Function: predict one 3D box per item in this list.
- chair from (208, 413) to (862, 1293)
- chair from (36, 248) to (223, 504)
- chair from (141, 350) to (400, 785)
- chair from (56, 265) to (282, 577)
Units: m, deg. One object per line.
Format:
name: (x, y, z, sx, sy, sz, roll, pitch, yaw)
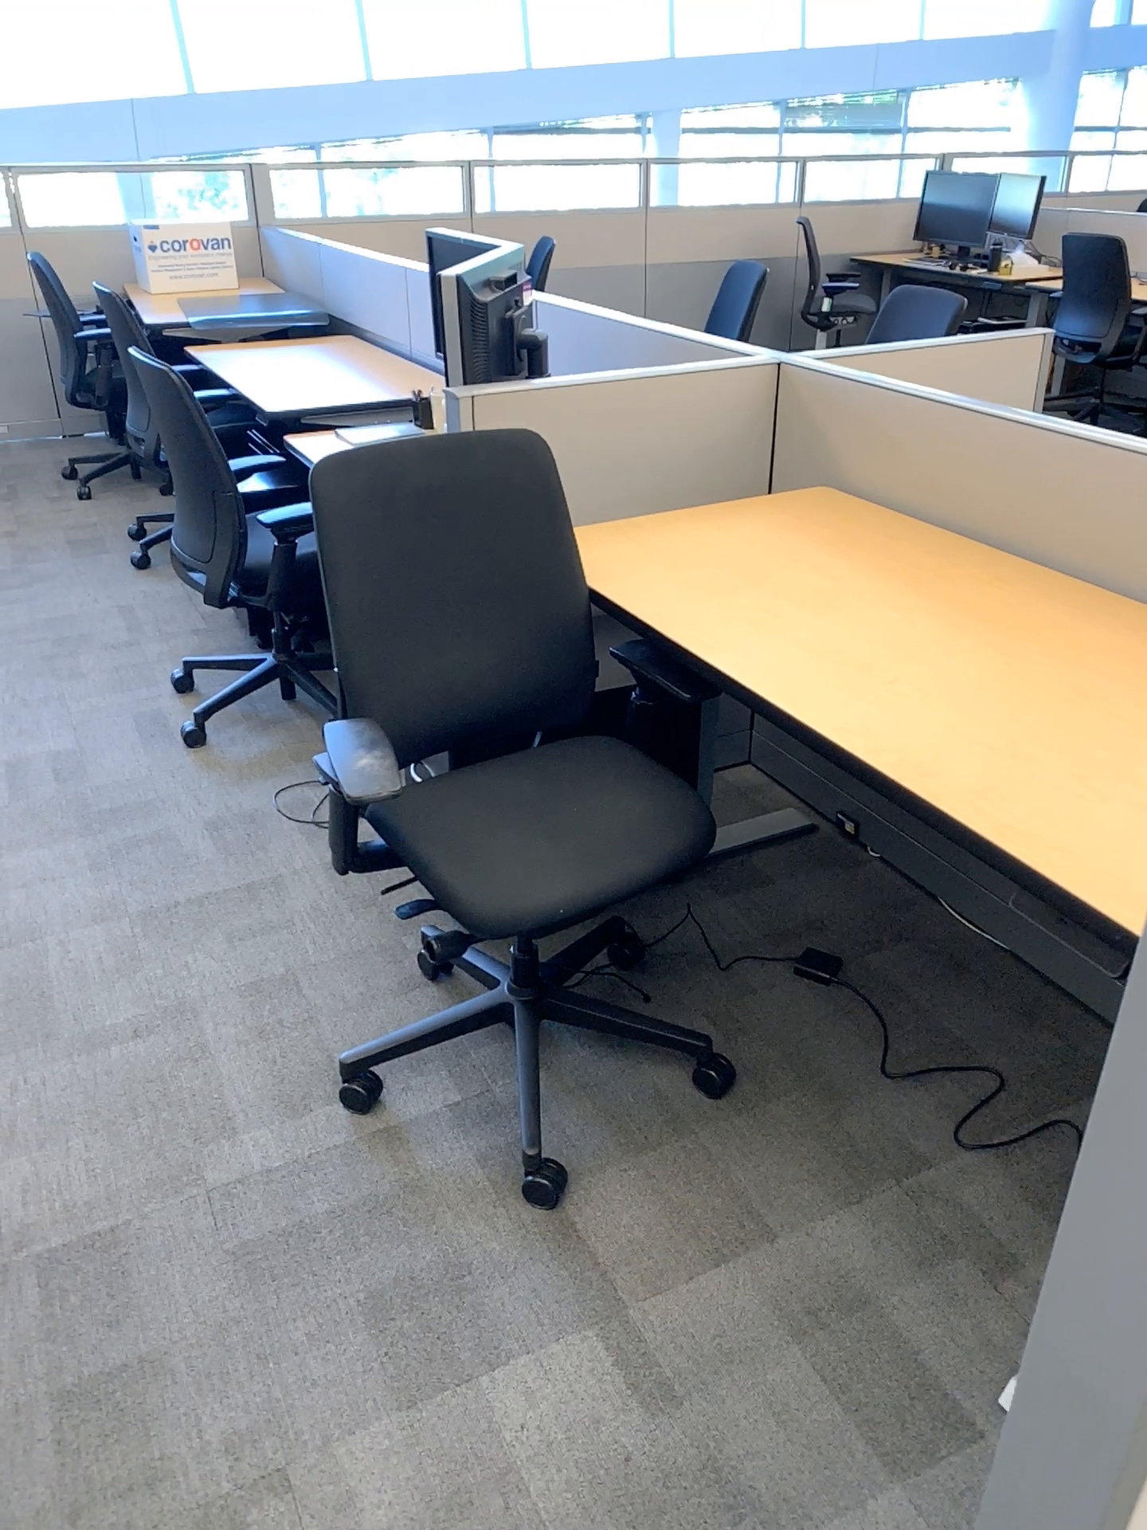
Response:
chair: (-0.102, 0.065, 1.817, 0.630, 0.994, 0.764, -13, 31, -23)
chair: (-1.992, -1.779, 5.319, 0.600, 0.994, 0.563, -9, 29, -16)
chair: (-0.813, -0.550, 3.176, 0.460, 0.994, 0.543, -13, 31, -22)
chair: (-1.510, -1.307, 4.399, 0.580, 0.994, 0.523, -13, 31, -23)
